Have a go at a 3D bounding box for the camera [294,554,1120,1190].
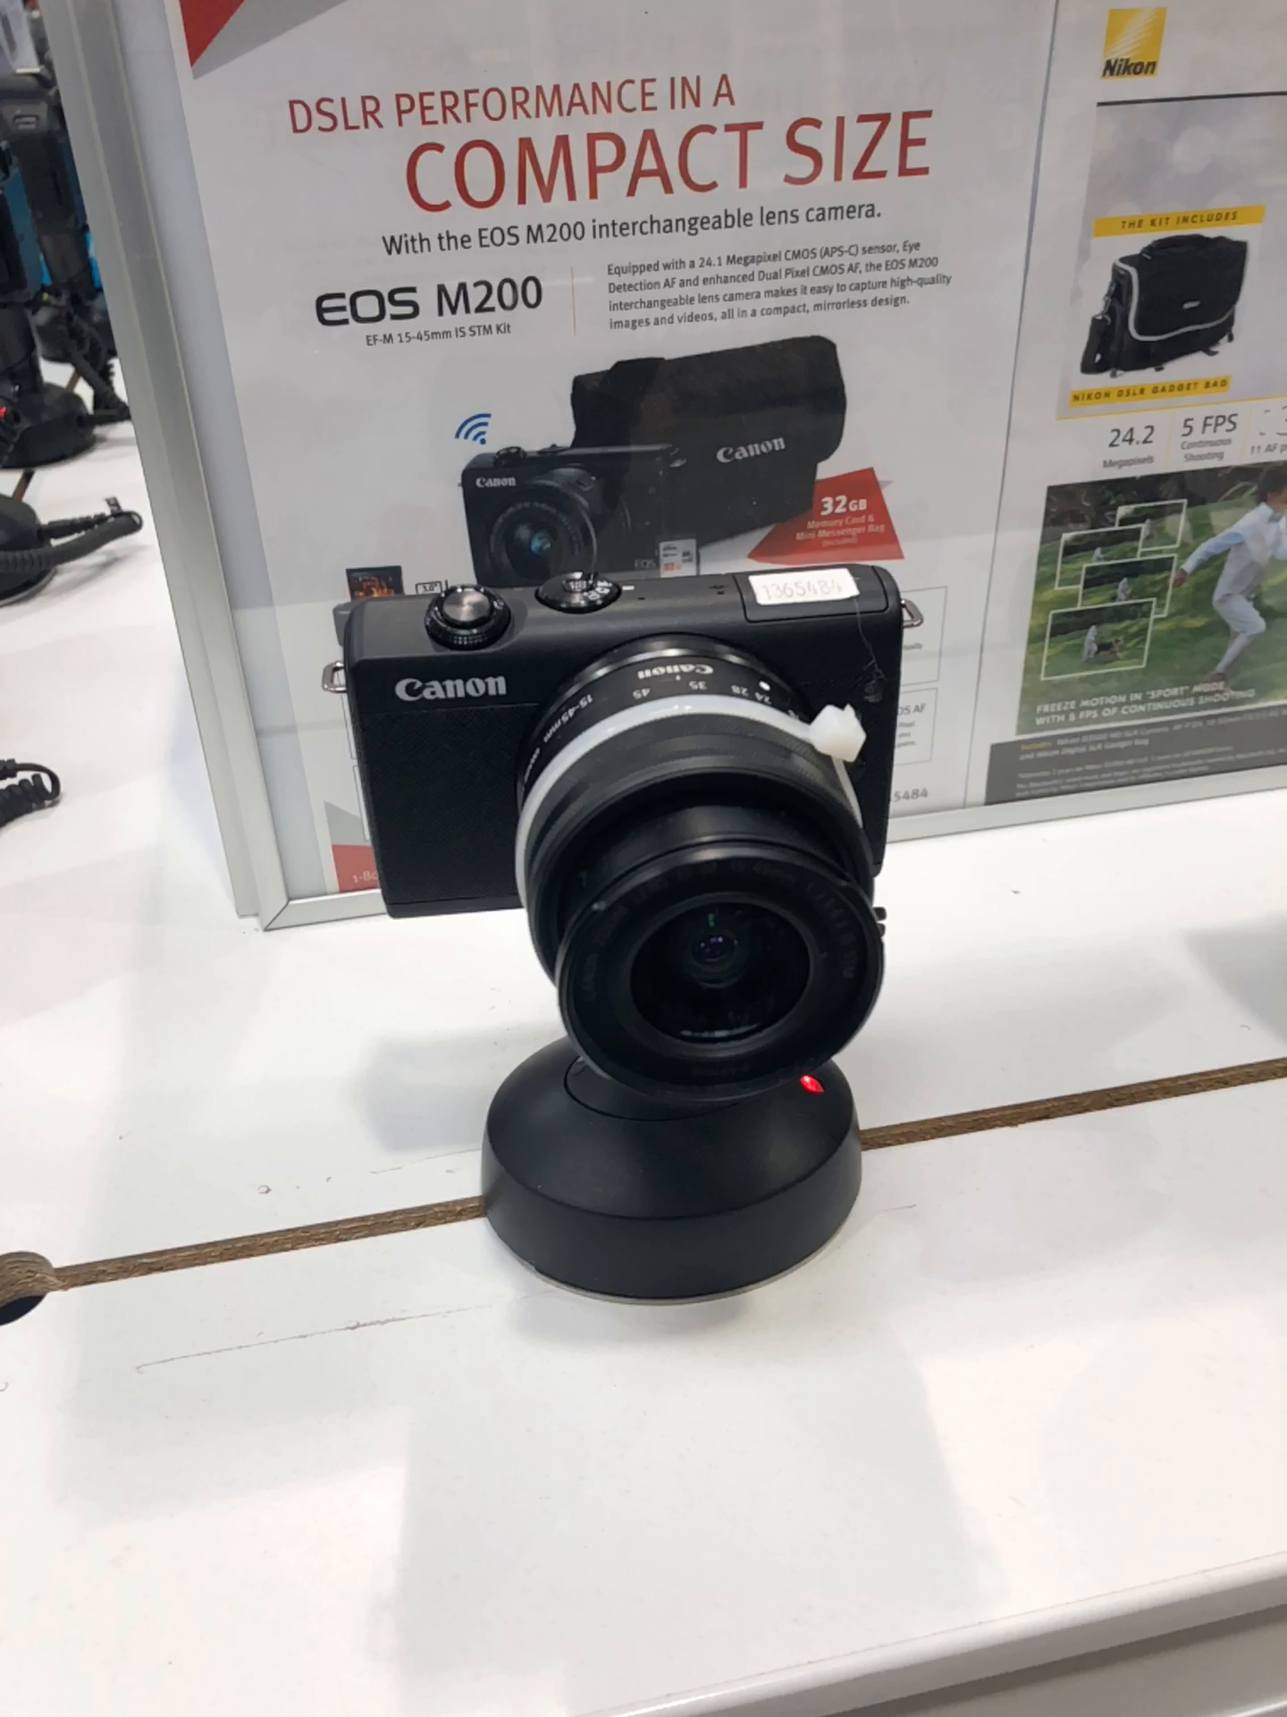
[{"bbox_3d":[0.003,-0.007,0.269,0.120,0.050,0.120,-6,33,-6],"label":"camera"}]
